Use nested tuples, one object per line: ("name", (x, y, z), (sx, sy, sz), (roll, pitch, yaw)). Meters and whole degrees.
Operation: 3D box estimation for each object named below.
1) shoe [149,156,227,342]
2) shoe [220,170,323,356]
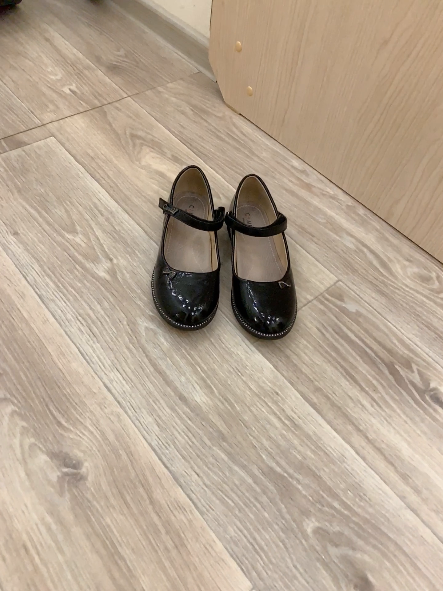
("shoe", (-0.047, -0.070, 0.633), (0.090, 0.100, 0.251), (2, 54, -6))
("shoe", (0.058, -0.051, 0.635), (0.090, 0.100, 0.251), (0, 54, -8))
